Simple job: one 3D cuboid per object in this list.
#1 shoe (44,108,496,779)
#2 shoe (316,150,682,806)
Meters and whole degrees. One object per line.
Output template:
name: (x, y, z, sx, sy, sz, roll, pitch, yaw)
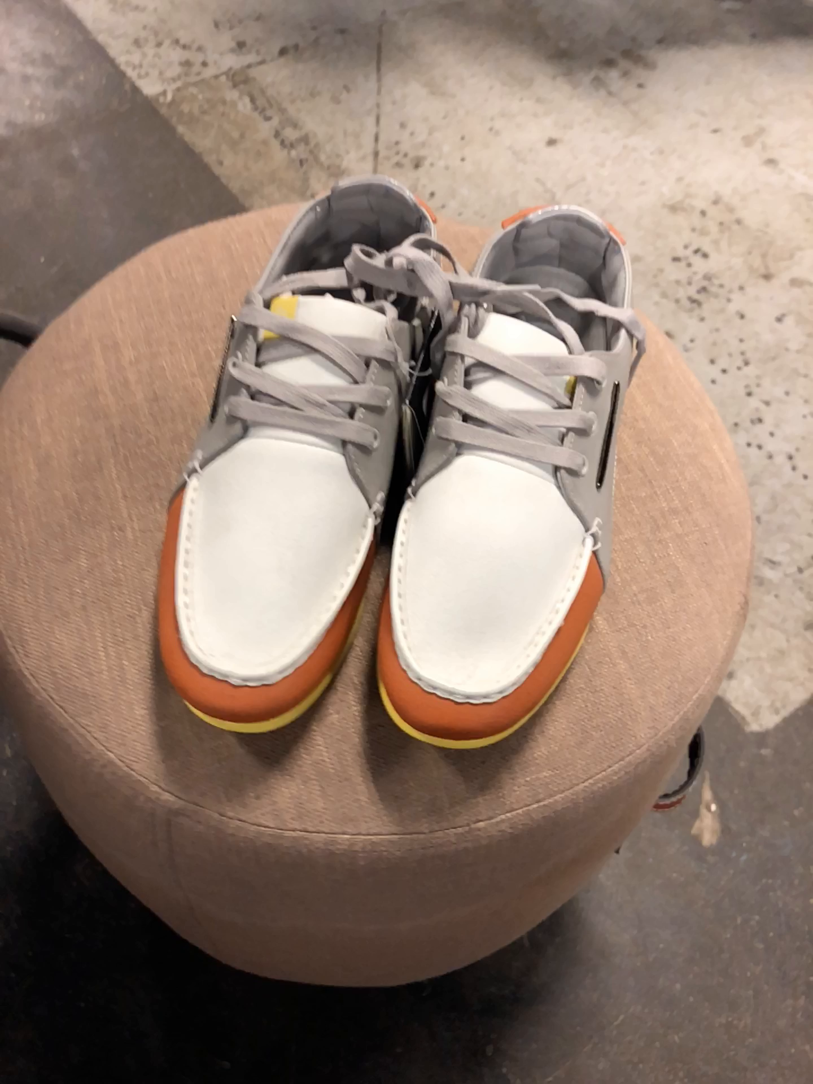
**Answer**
shoe: (-0.039, -0.057, 0.397, 0.100, 0.099, 0.282, 12, 57, 3)
shoe: (0.045, -0.037, 0.377, 0.100, 0.099, 0.252, 12, 58, 3)
